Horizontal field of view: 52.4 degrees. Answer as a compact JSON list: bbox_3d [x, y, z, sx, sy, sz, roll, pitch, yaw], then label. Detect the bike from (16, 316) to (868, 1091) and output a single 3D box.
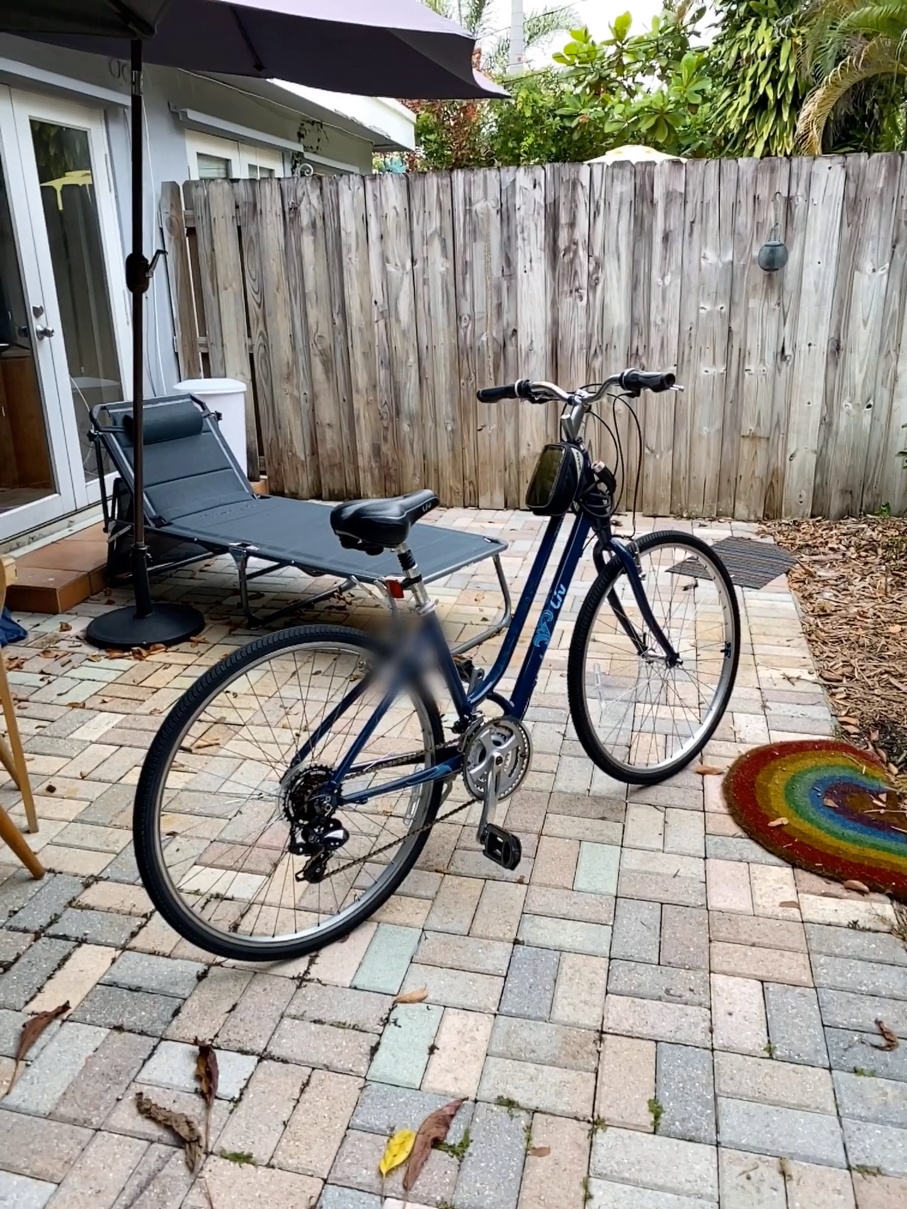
[{"bbox_3d":[0.105,0.011,2.055,1.692,1.067,0.597,-18,26,-34],"label":"bike"}]
